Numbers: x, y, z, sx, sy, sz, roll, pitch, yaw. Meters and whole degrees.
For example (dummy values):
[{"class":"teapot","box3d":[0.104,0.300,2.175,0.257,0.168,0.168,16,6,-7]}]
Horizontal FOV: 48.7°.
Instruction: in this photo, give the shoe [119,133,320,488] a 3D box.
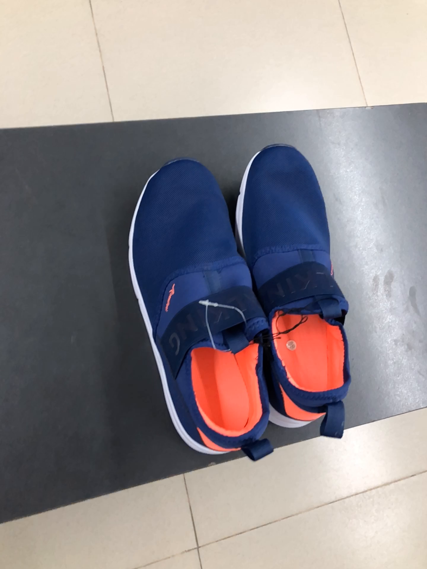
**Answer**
[{"class":"shoe","box3d":[-0.007,0.018,0.418,0.110,0.120,0.260,-7,82,-15]}]

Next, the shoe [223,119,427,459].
[{"class":"shoe","box3d":[0.080,0.003,0.395,0.110,0.120,0.240,-3,81,-8]}]
